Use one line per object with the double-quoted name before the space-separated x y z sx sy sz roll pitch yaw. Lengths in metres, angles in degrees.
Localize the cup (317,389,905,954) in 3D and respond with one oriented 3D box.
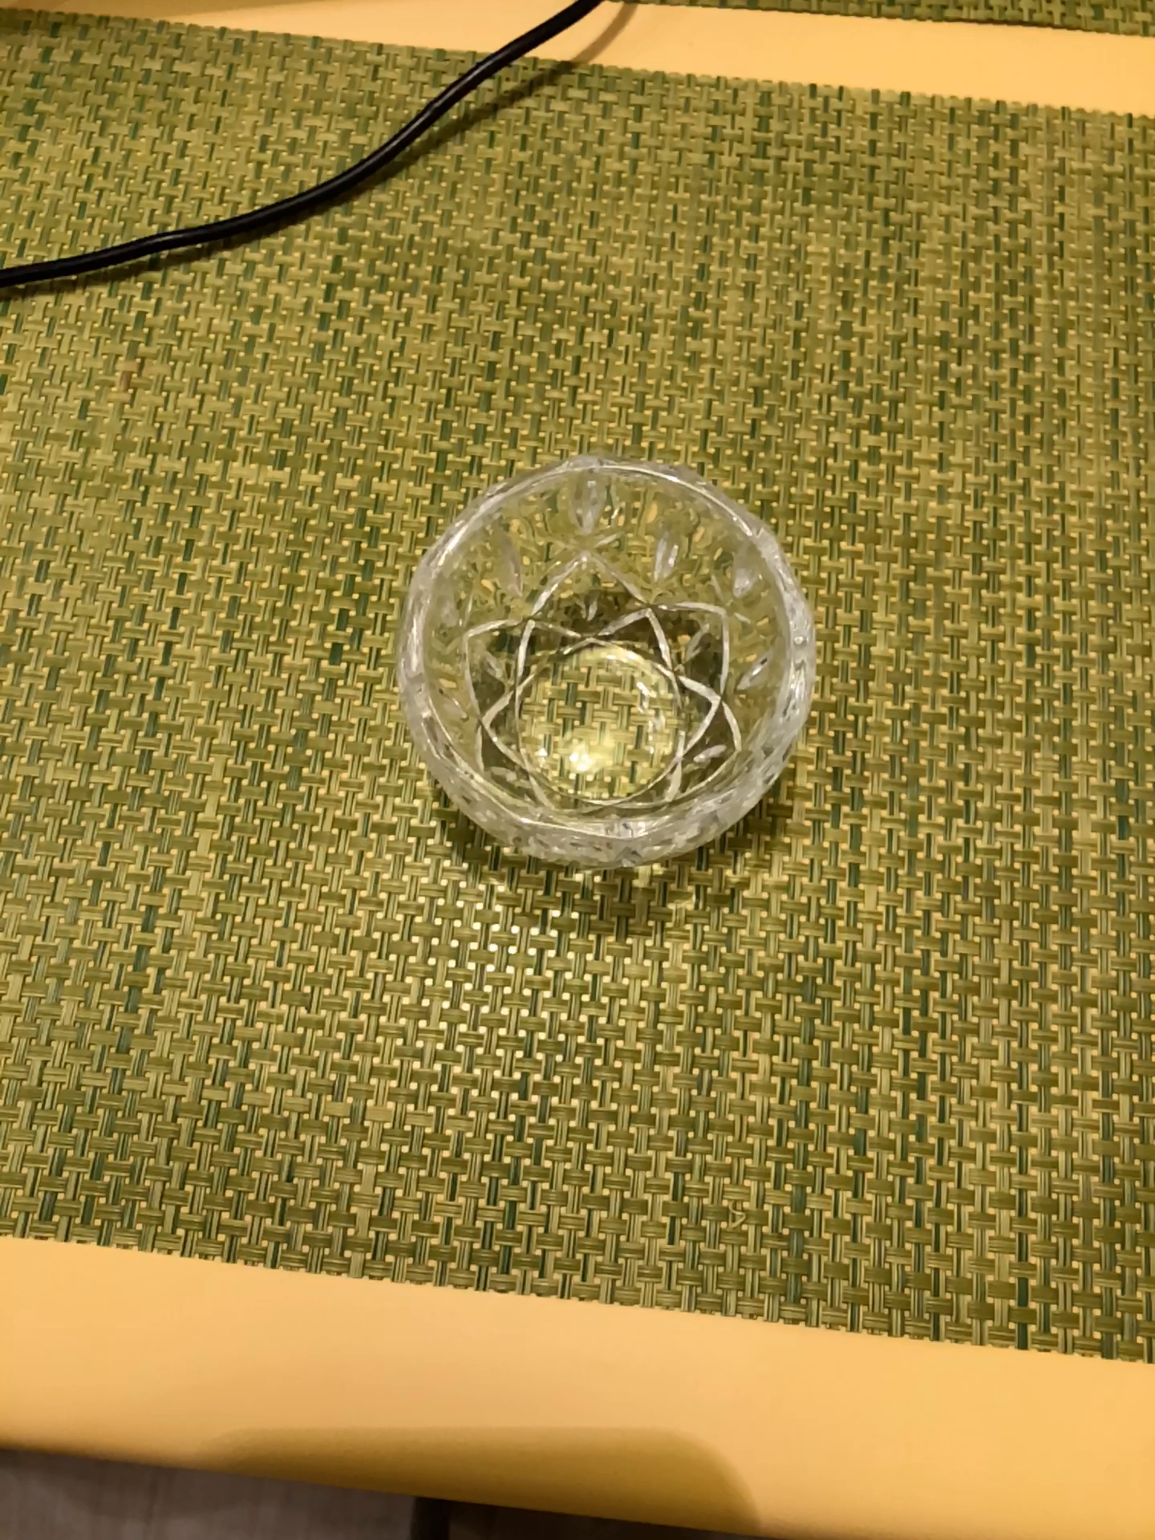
"cup" 0.007 -0.016 0.239 0.080 0.045 0.072 21 75 5
